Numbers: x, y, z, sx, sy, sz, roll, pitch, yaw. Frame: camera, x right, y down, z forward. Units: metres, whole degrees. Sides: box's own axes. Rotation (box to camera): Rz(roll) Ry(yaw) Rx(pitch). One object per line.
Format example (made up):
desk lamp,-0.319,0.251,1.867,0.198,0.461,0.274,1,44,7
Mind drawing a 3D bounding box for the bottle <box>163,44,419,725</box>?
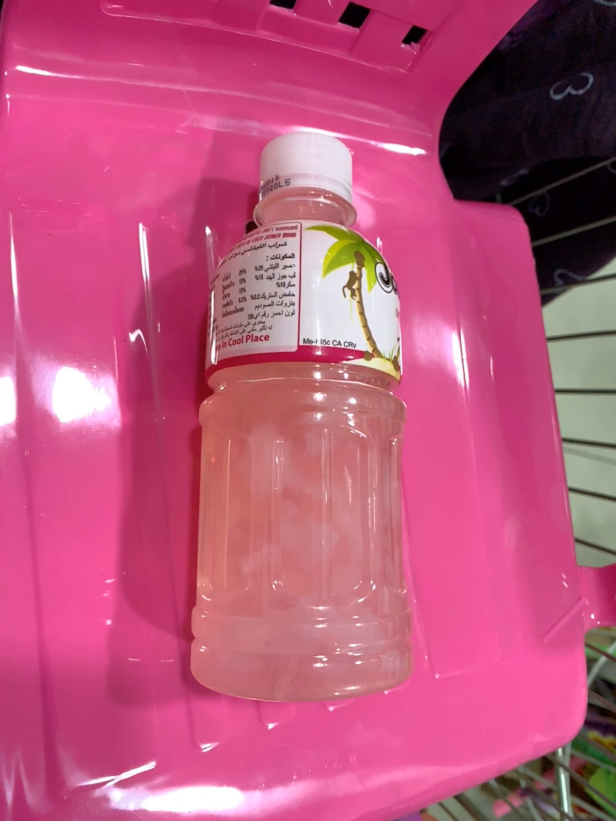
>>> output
bottle,-0.003,-0.008,0.190,0.060,0.060,0.170,-1,83,3
